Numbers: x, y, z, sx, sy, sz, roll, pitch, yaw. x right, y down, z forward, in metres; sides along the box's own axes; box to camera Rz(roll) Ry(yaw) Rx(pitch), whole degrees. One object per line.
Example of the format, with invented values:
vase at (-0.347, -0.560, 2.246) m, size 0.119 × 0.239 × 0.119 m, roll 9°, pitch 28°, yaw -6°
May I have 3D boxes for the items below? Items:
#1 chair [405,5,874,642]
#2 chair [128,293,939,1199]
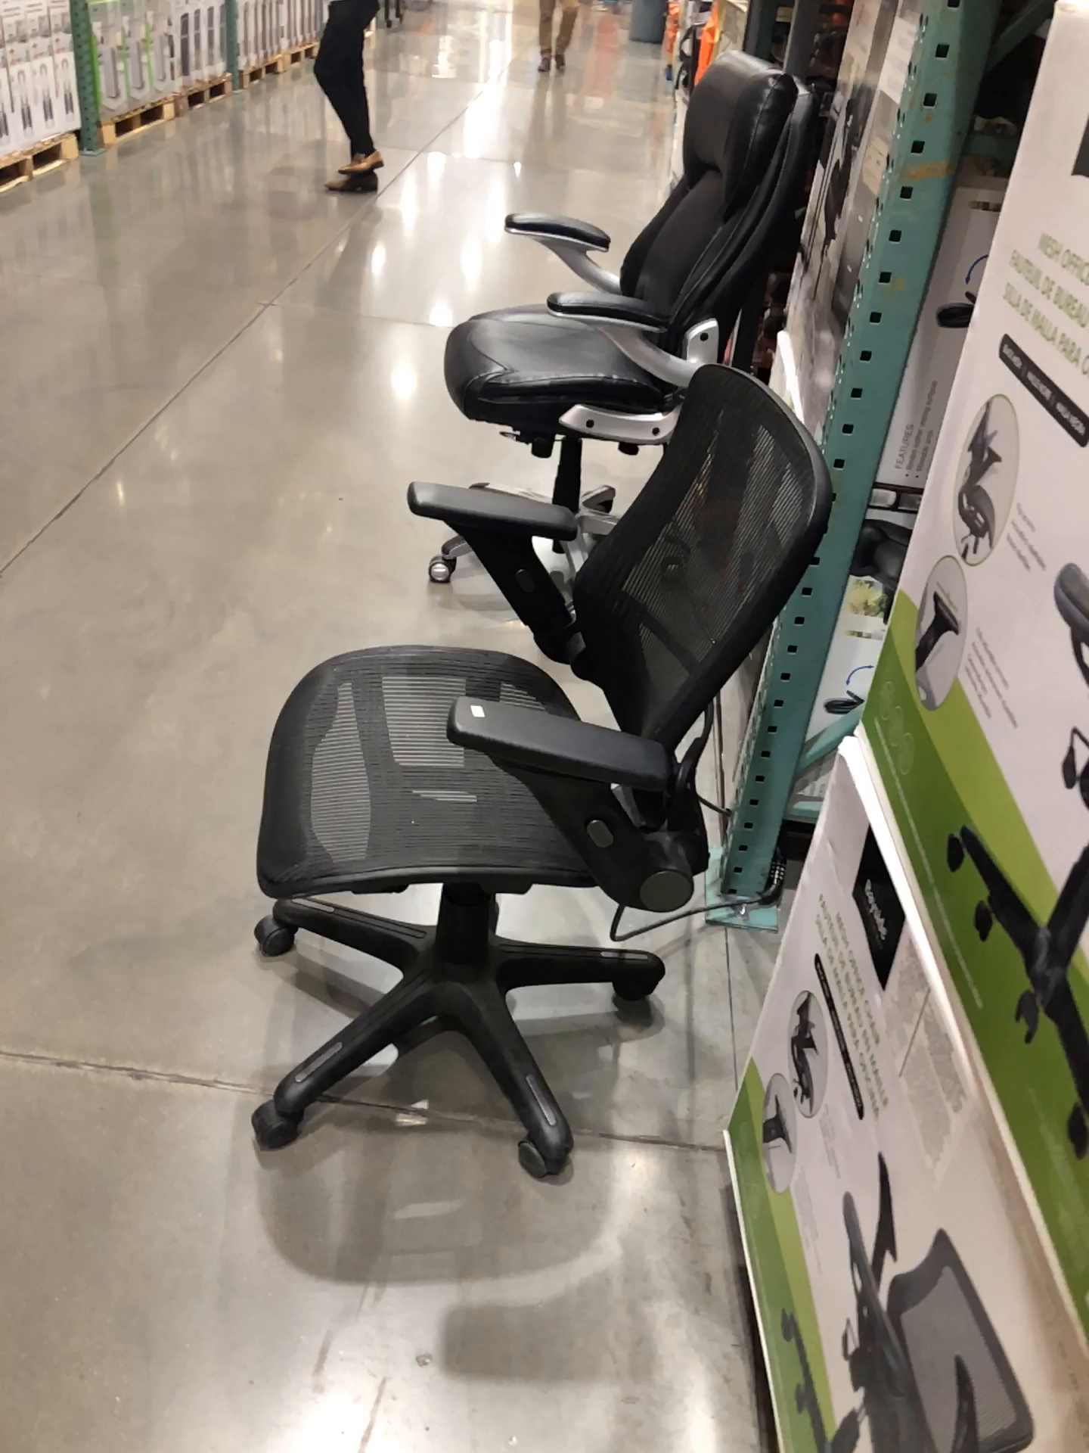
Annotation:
chair at (0.105, -0.941, 2.782) m, size 0.798 × 1.145 × 0.909 m, roll 2°, pitch 34°, yaw -7°
chair at (-0.069, 0.033, 1.540) m, size 0.698 × 0.936 × 0.637 m, roll 2°, pitch 34°, yaw -8°
